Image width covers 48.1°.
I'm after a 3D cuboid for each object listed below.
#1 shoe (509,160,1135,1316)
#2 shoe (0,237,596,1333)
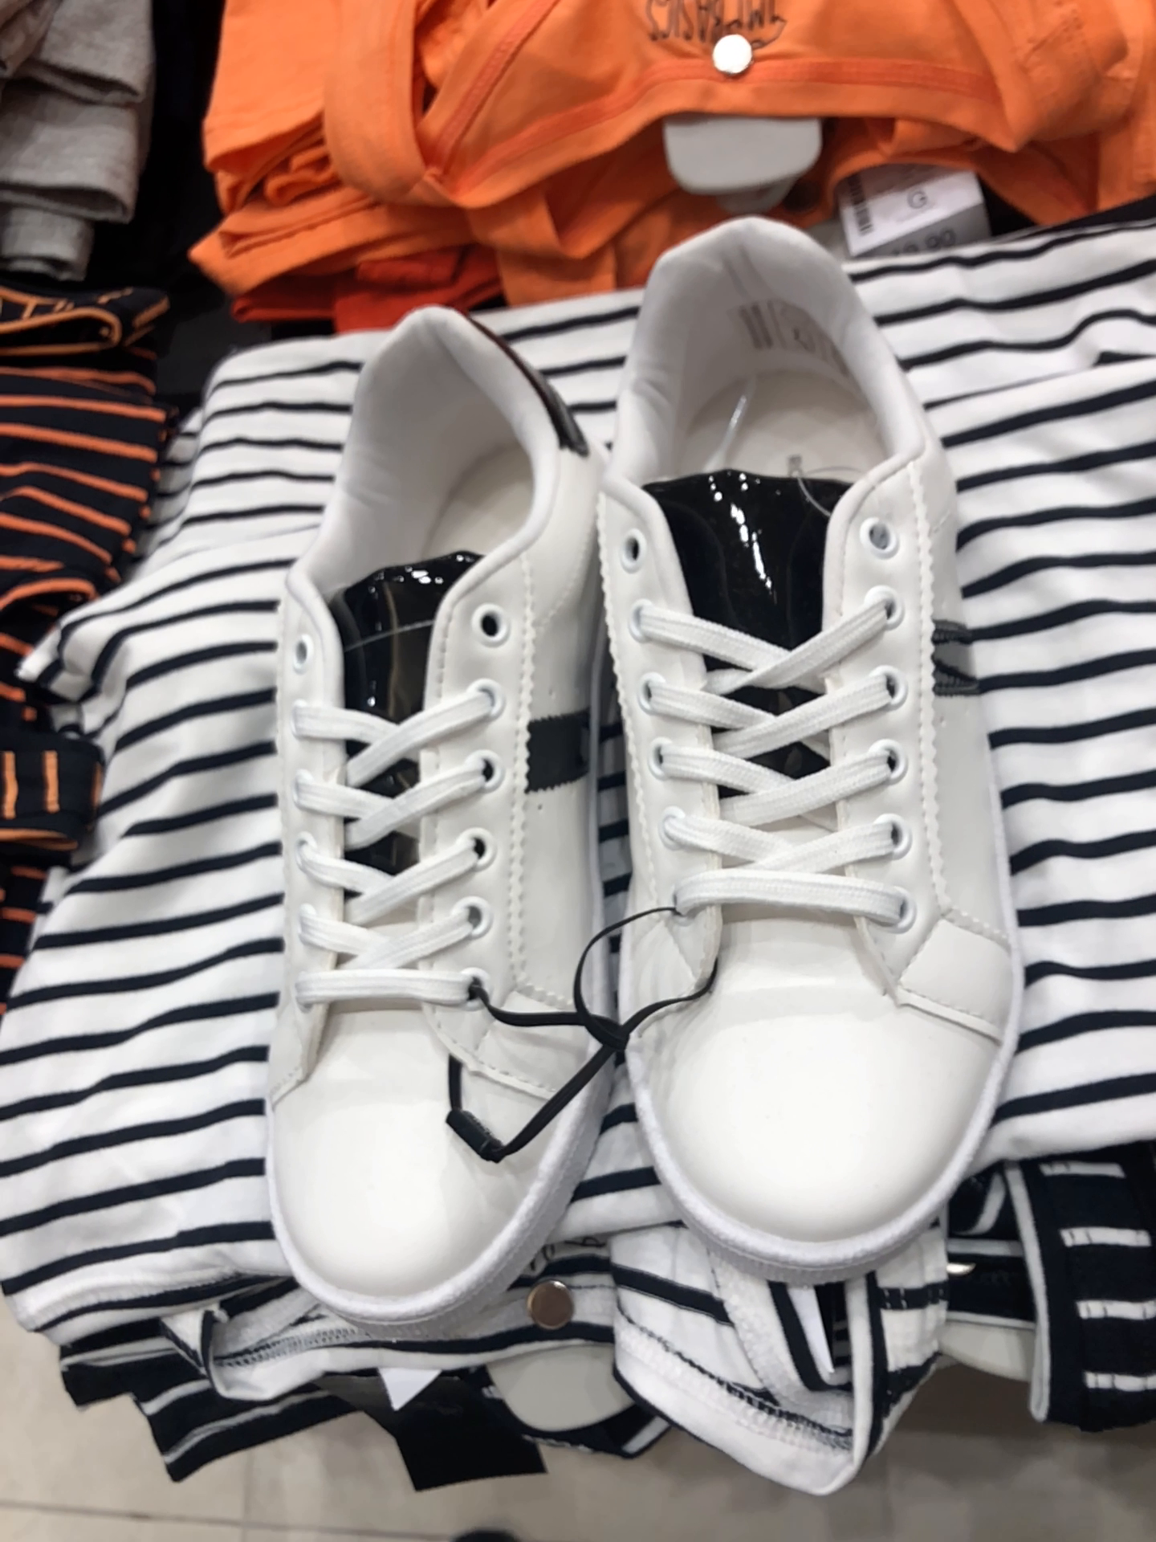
[{"bbox_3d":[0.042,-0.005,0.263,0.090,0.080,0.210,-4,69,11],"label":"shoe"},{"bbox_3d":[-0.047,0.002,0.279,0.080,0.080,0.210,-2,69,12],"label":"shoe"}]
